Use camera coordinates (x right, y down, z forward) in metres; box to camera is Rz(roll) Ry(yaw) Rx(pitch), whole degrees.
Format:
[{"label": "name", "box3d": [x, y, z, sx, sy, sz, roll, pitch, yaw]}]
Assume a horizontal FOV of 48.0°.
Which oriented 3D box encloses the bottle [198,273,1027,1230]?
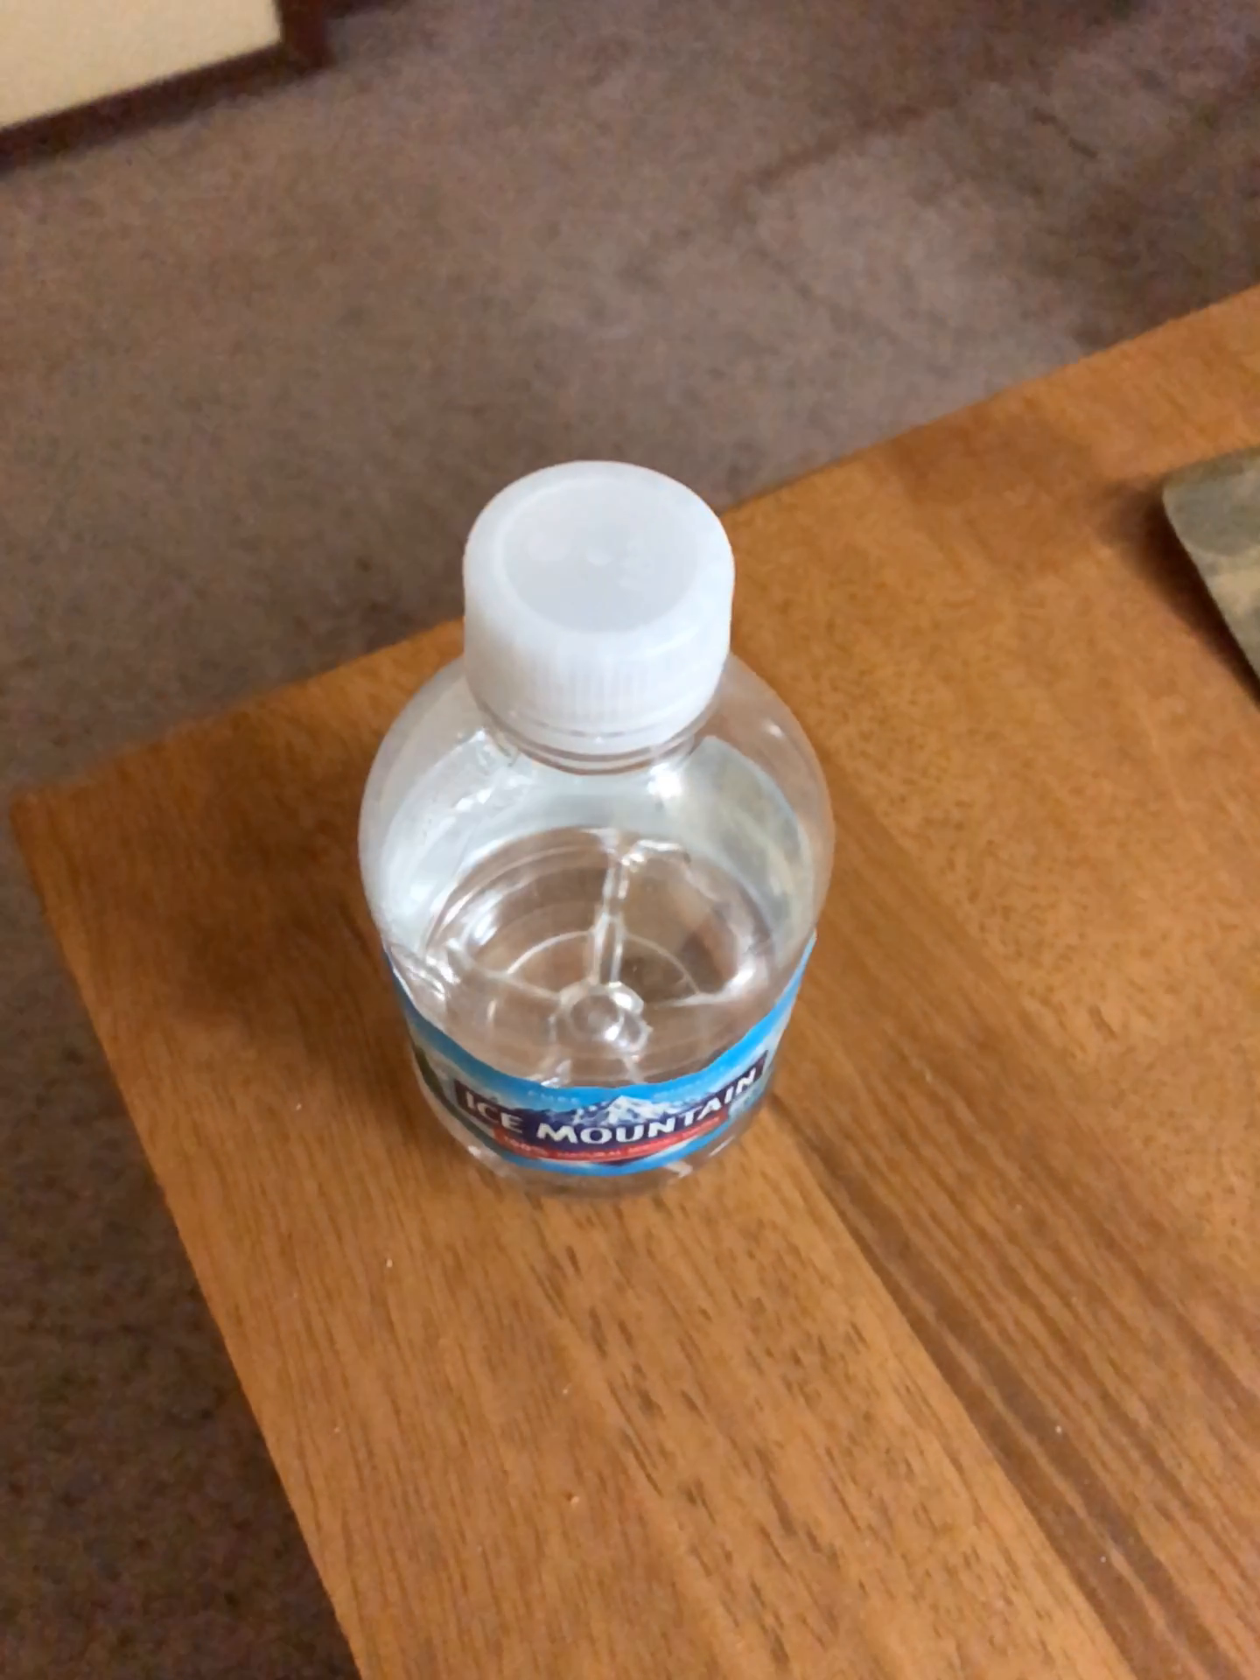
[{"label": "bottle", "box3d": [-0.005, -0.002, 0.184, 0.070, 0.110, 0.070, 1, 59, -1]}]
